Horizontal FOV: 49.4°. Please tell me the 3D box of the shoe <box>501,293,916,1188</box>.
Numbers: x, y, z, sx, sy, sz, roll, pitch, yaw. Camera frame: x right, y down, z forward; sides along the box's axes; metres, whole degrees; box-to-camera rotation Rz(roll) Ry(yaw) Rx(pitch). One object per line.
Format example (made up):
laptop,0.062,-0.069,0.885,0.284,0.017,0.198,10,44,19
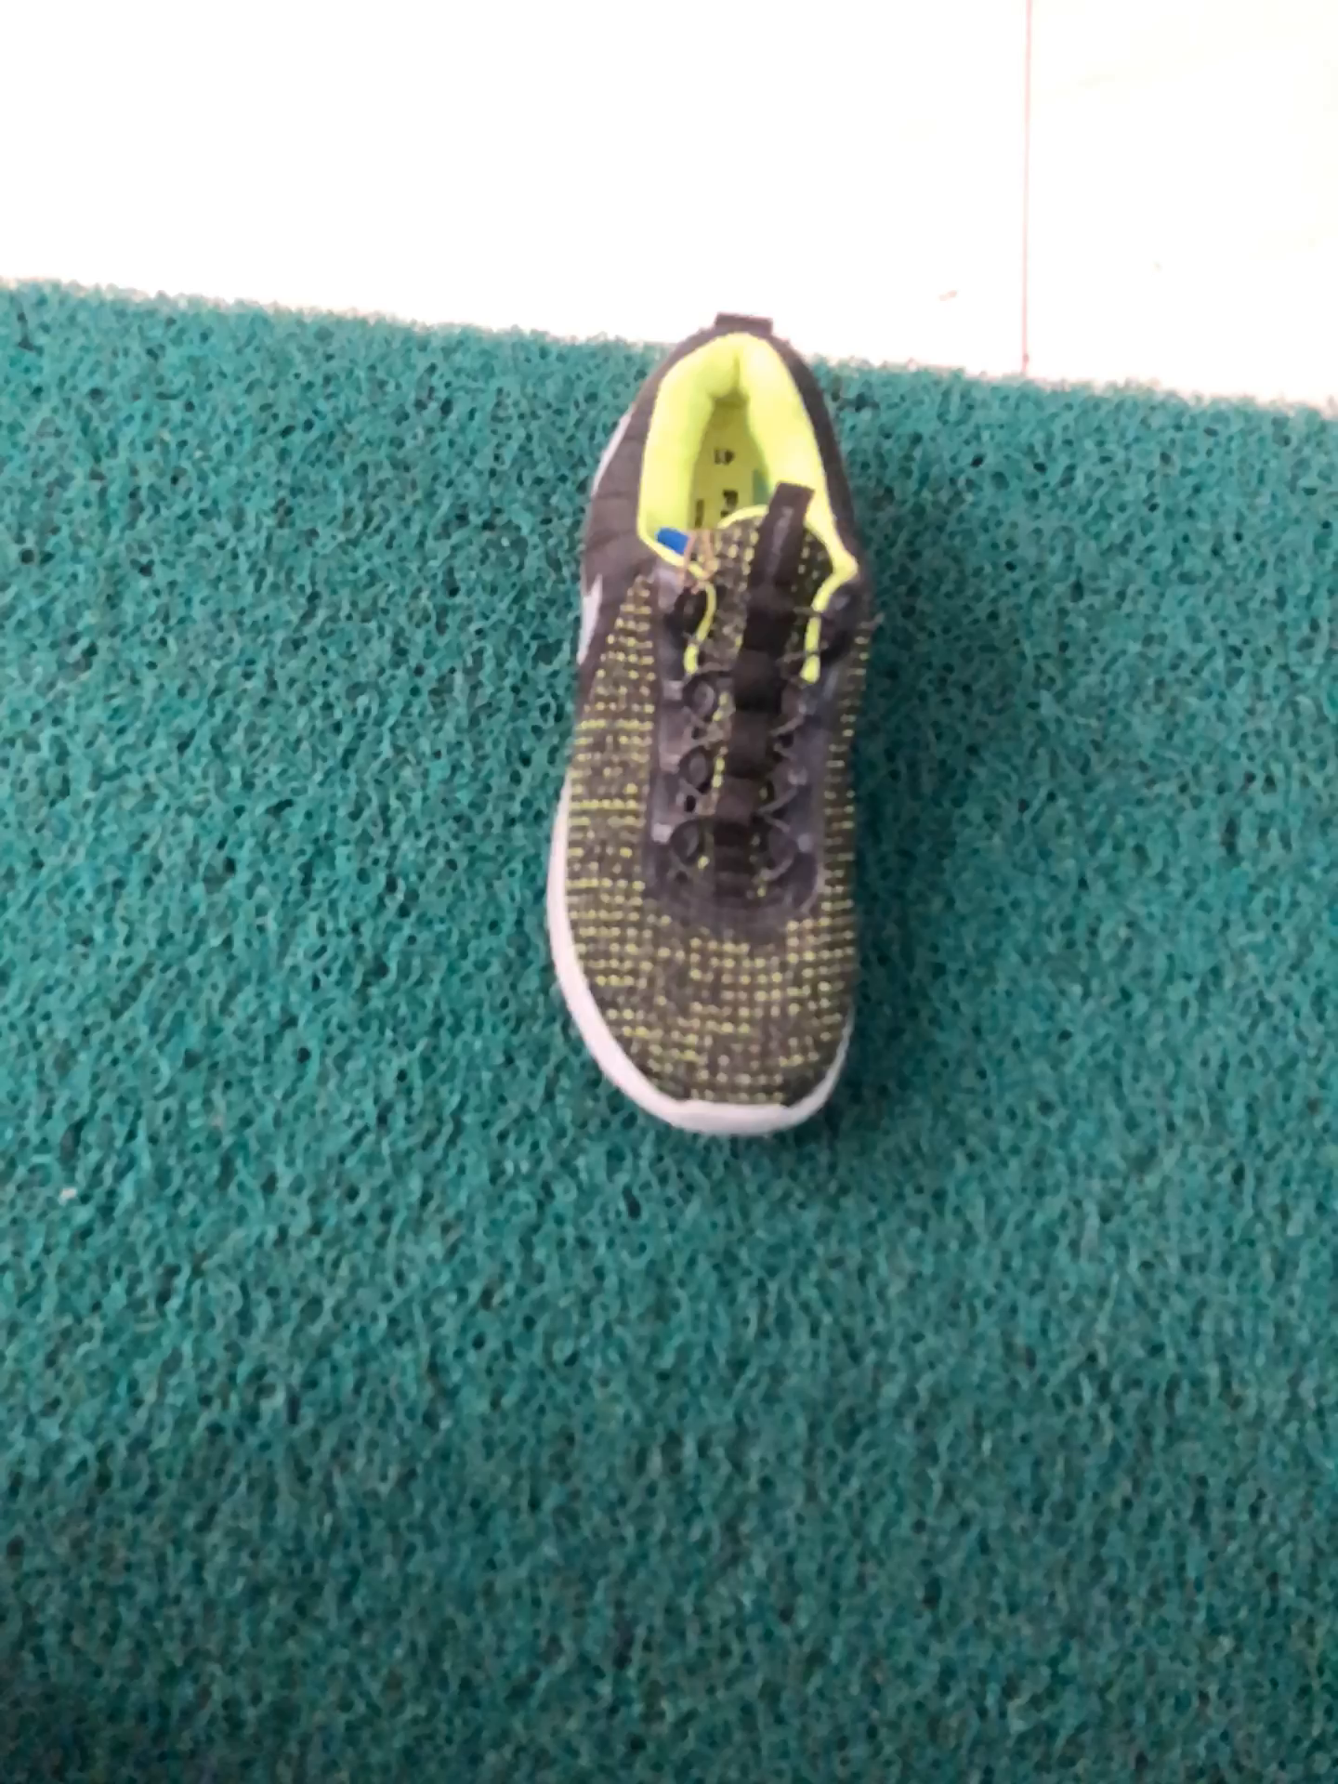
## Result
shoe,0.016,-0.050,0.472,0.110,0.090,0.270,4,70,-2
